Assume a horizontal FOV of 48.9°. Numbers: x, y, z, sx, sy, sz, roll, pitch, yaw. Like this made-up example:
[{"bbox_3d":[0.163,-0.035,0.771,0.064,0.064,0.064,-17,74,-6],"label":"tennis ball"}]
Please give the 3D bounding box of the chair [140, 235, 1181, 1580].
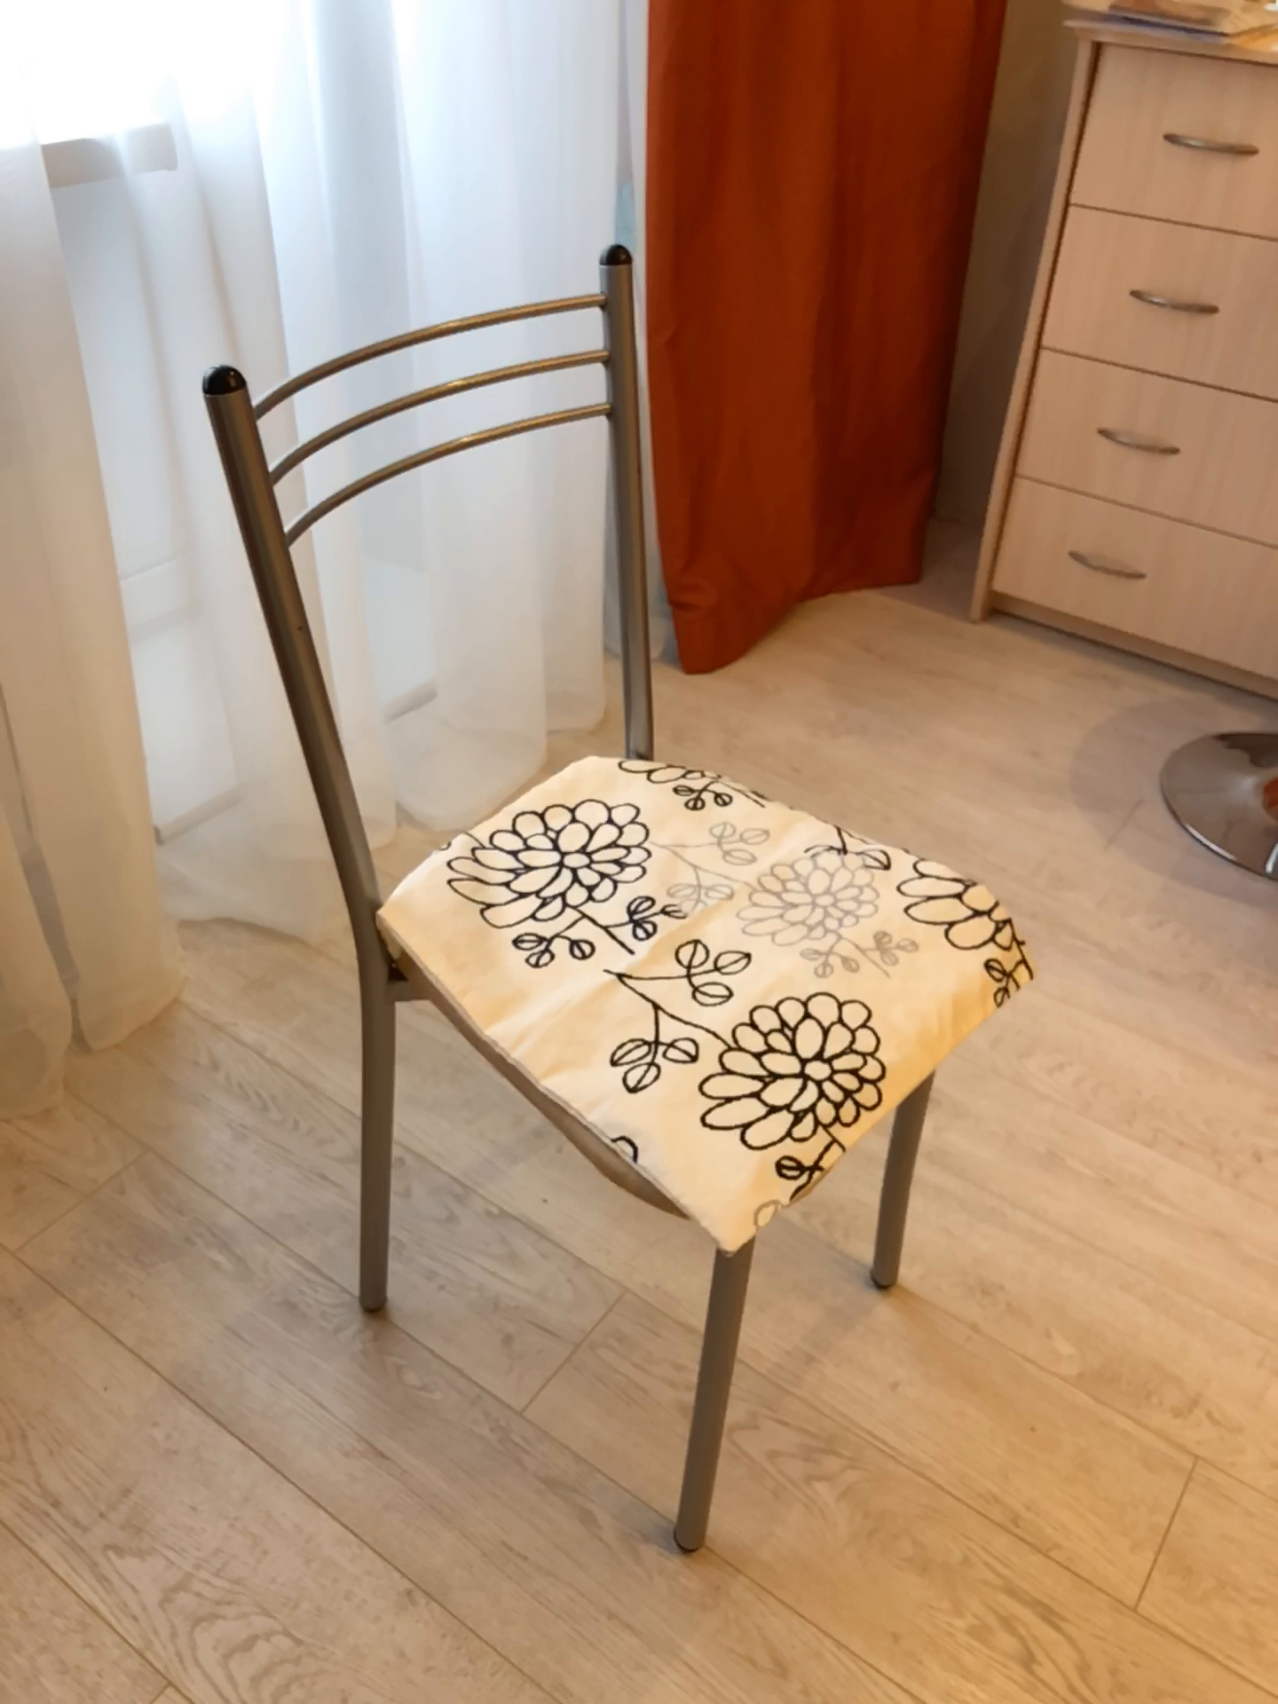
[{"bbox_3d":[0.015,0.040,1.046,0.441,0.794,0.422,24,42,27],"label":"chair"}]
